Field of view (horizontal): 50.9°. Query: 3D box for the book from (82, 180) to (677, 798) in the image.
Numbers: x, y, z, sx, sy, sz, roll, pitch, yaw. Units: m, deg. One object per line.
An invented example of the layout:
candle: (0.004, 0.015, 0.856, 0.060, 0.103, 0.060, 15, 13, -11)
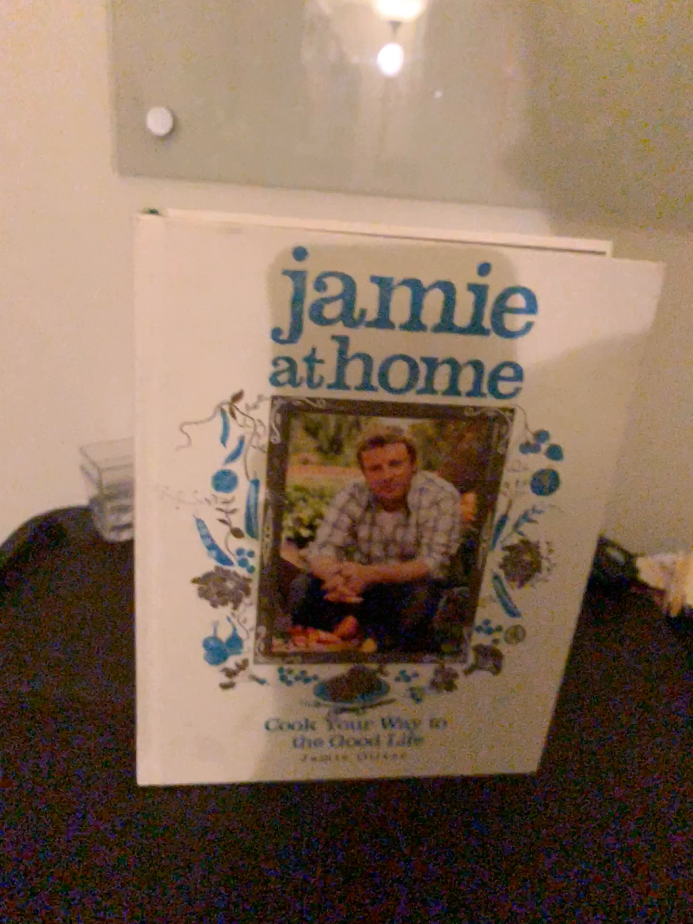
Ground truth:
book: (0.003, 0.027, 0.327, 0.210, 0.269, 0.050, 2, 22, -8)
